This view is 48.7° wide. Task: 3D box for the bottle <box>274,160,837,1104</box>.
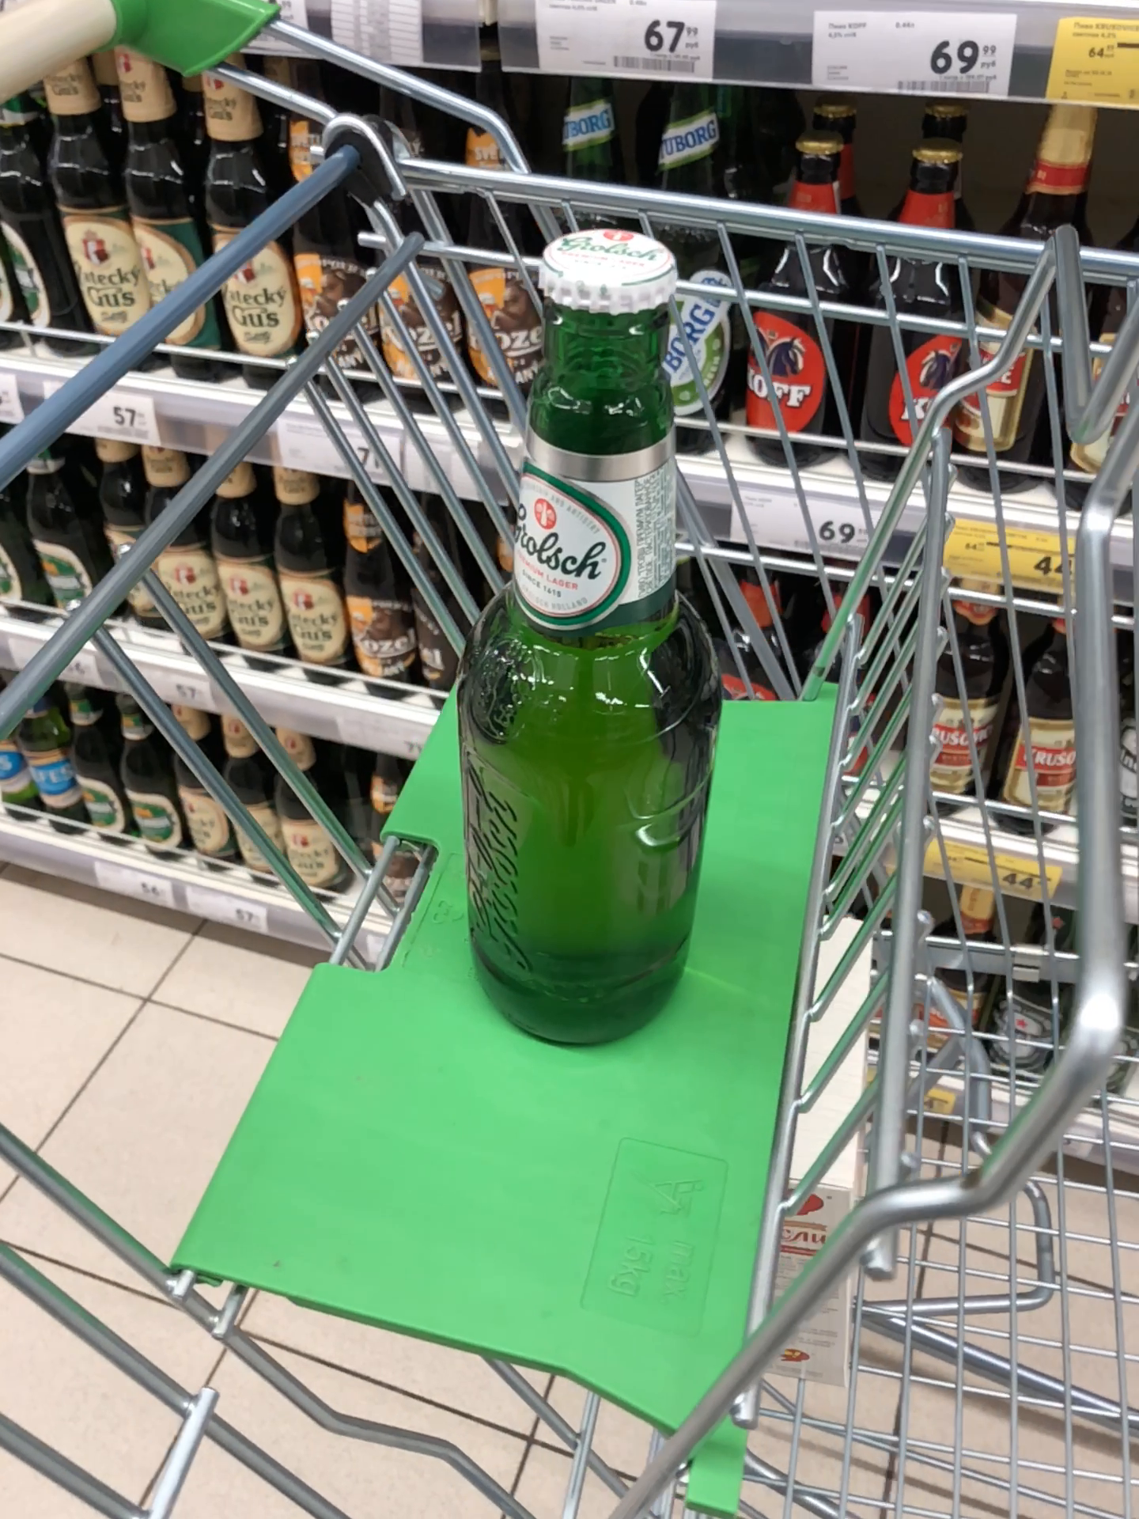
[{"bbox_3d":[0.001,-0.021,0.326,0.080,0.219,0.080,-1,42,1],"label":"bottle"}]
